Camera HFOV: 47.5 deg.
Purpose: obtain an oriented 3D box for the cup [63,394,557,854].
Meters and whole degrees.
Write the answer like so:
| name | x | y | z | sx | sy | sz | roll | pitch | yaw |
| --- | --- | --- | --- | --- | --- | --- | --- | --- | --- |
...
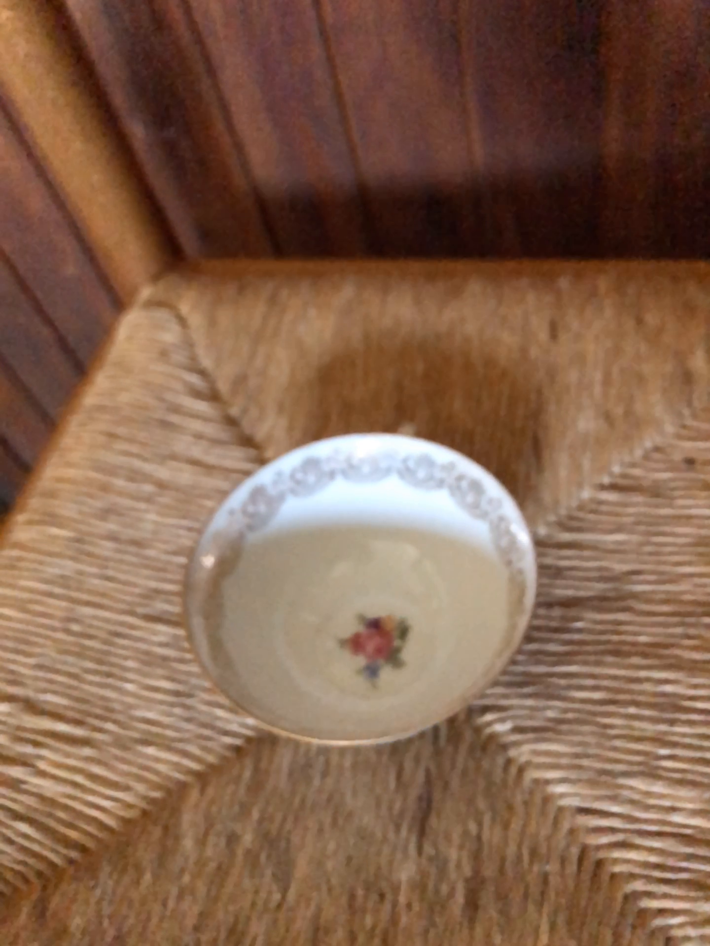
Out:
| name | x | y | z | sx | sy | sz | roll | pitch | yaw |
| --- | --- | --- | --- | --- | --- | --- | --- | --- | --- |
| cup | -0.005 | 0.039 | 0.282 | 0.130 | 0.040 | 0.141 | -7 | 47 | 8 |
